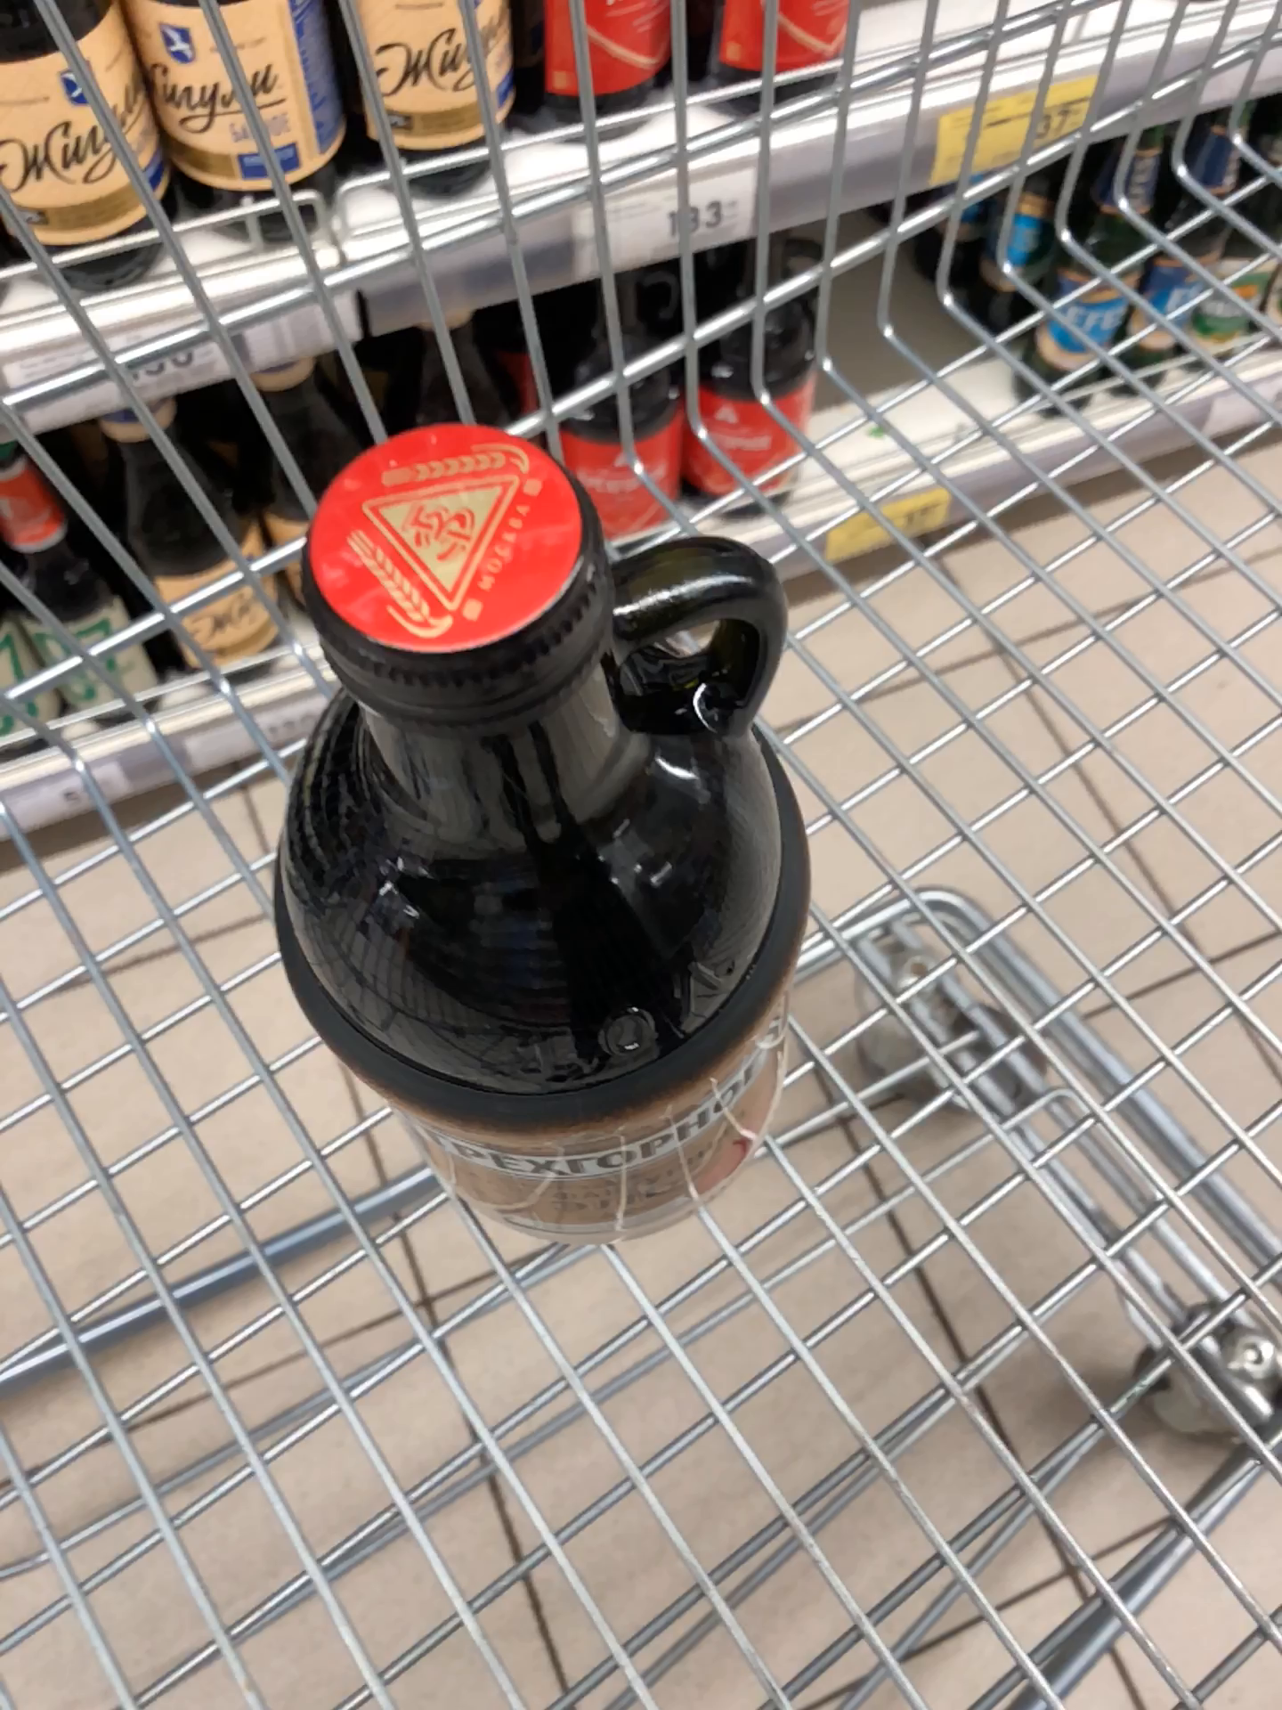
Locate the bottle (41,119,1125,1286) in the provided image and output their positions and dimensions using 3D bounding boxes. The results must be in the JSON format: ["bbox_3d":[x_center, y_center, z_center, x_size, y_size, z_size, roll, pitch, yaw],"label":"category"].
[{"bbox_3d":[-0.010,0.003,0.269,0.110,0.229,0.100,0,63,0],"label":"bottle"}]
